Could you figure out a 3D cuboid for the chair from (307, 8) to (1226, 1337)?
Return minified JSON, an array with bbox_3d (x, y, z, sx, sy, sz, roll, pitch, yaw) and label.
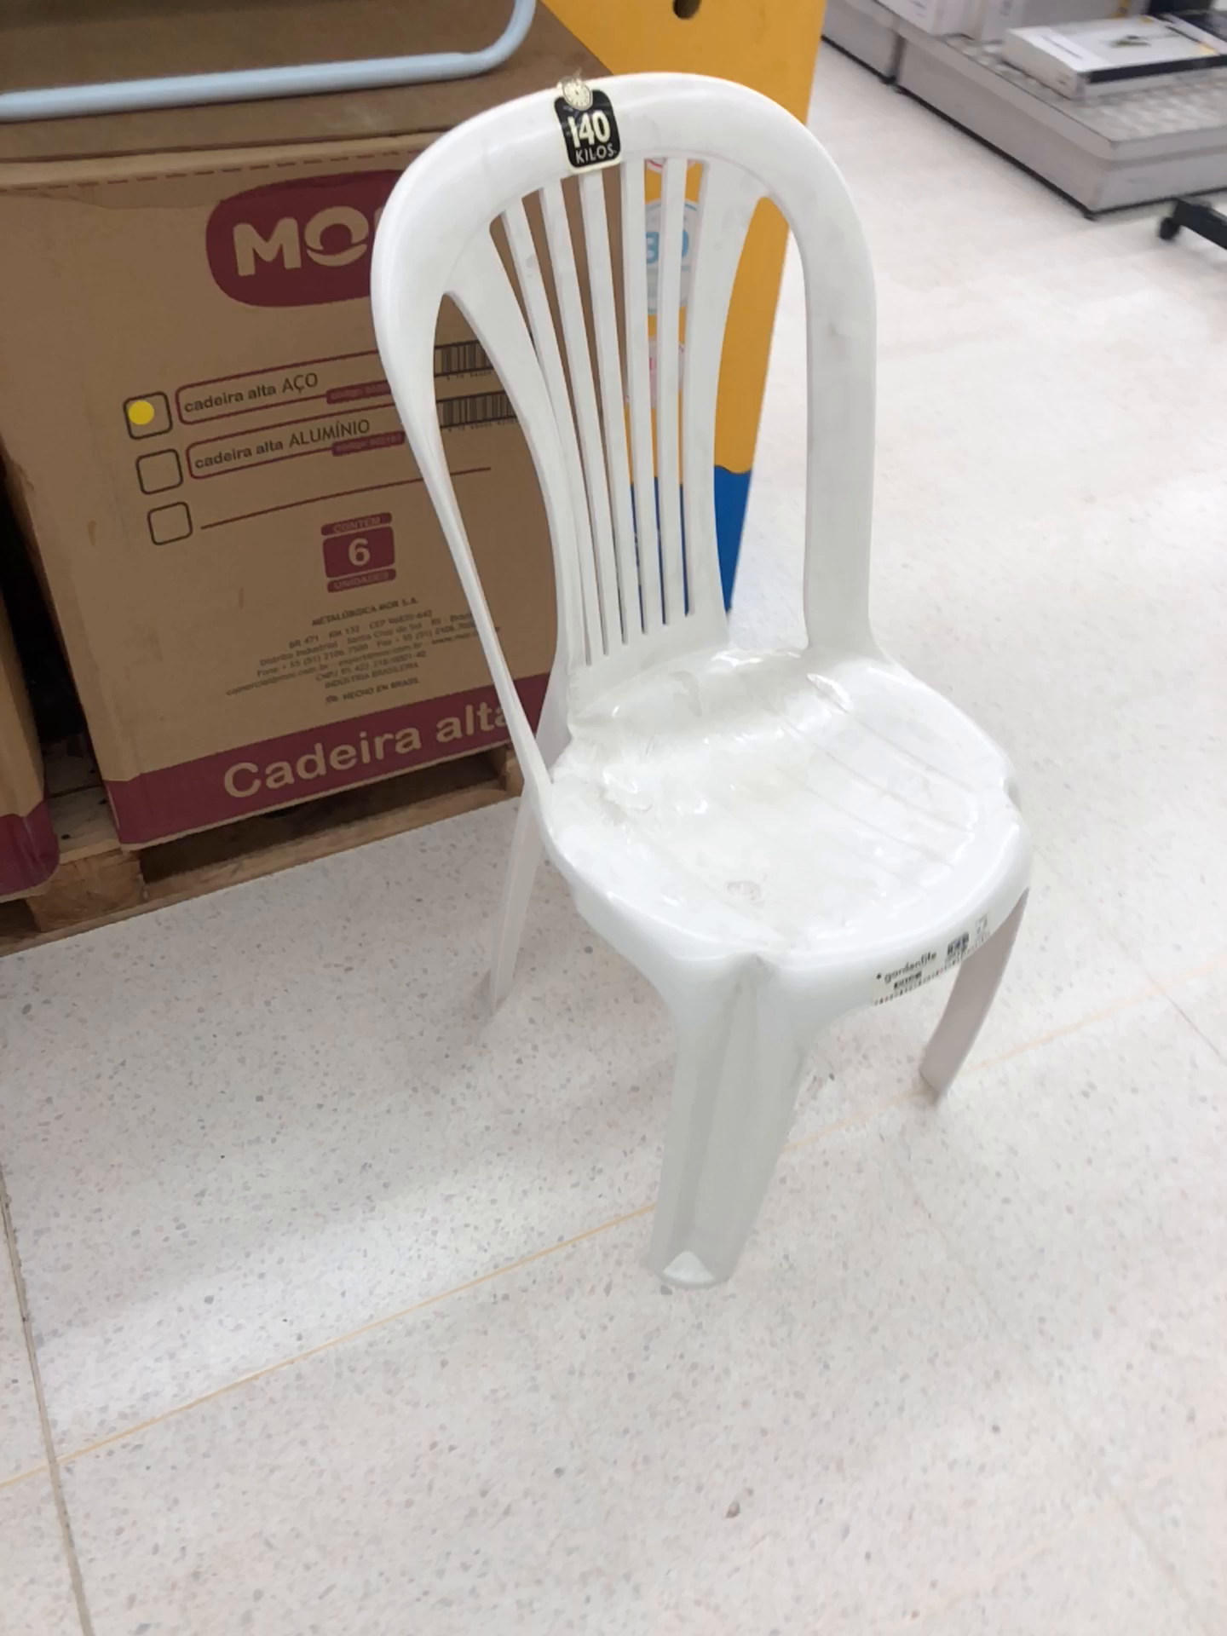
[{"bbox_3d":[0.117,-0.074,1.069,0.442,0.834,0.461,-32,57,-29],"label":"chair"}]
